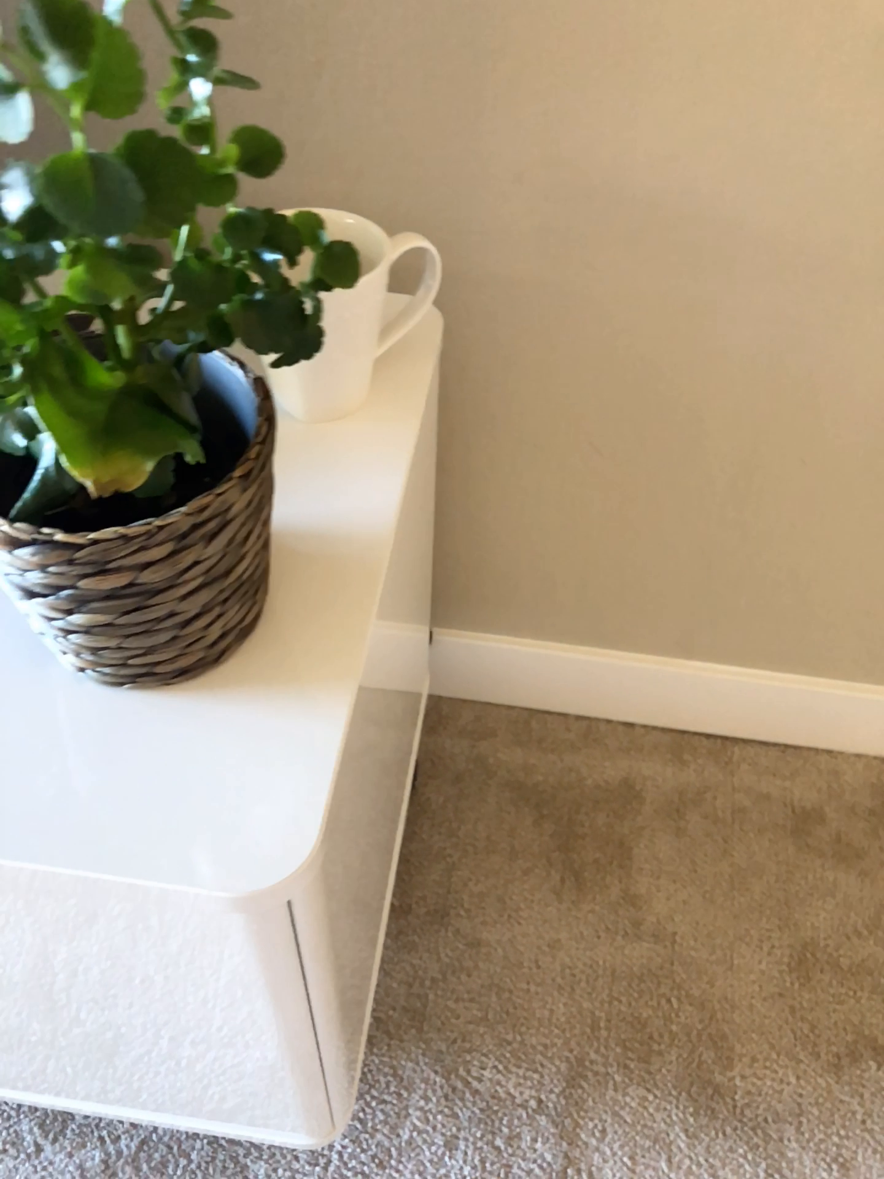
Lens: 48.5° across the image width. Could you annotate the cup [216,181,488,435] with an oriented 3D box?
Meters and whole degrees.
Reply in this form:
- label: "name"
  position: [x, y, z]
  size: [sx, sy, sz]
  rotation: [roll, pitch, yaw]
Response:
- label: "cup"
  position: [-0.054, -0.174, 0.597]
  size: [0.130, 0.090, 0.090]
  rotation: [-21, 52, -21]
